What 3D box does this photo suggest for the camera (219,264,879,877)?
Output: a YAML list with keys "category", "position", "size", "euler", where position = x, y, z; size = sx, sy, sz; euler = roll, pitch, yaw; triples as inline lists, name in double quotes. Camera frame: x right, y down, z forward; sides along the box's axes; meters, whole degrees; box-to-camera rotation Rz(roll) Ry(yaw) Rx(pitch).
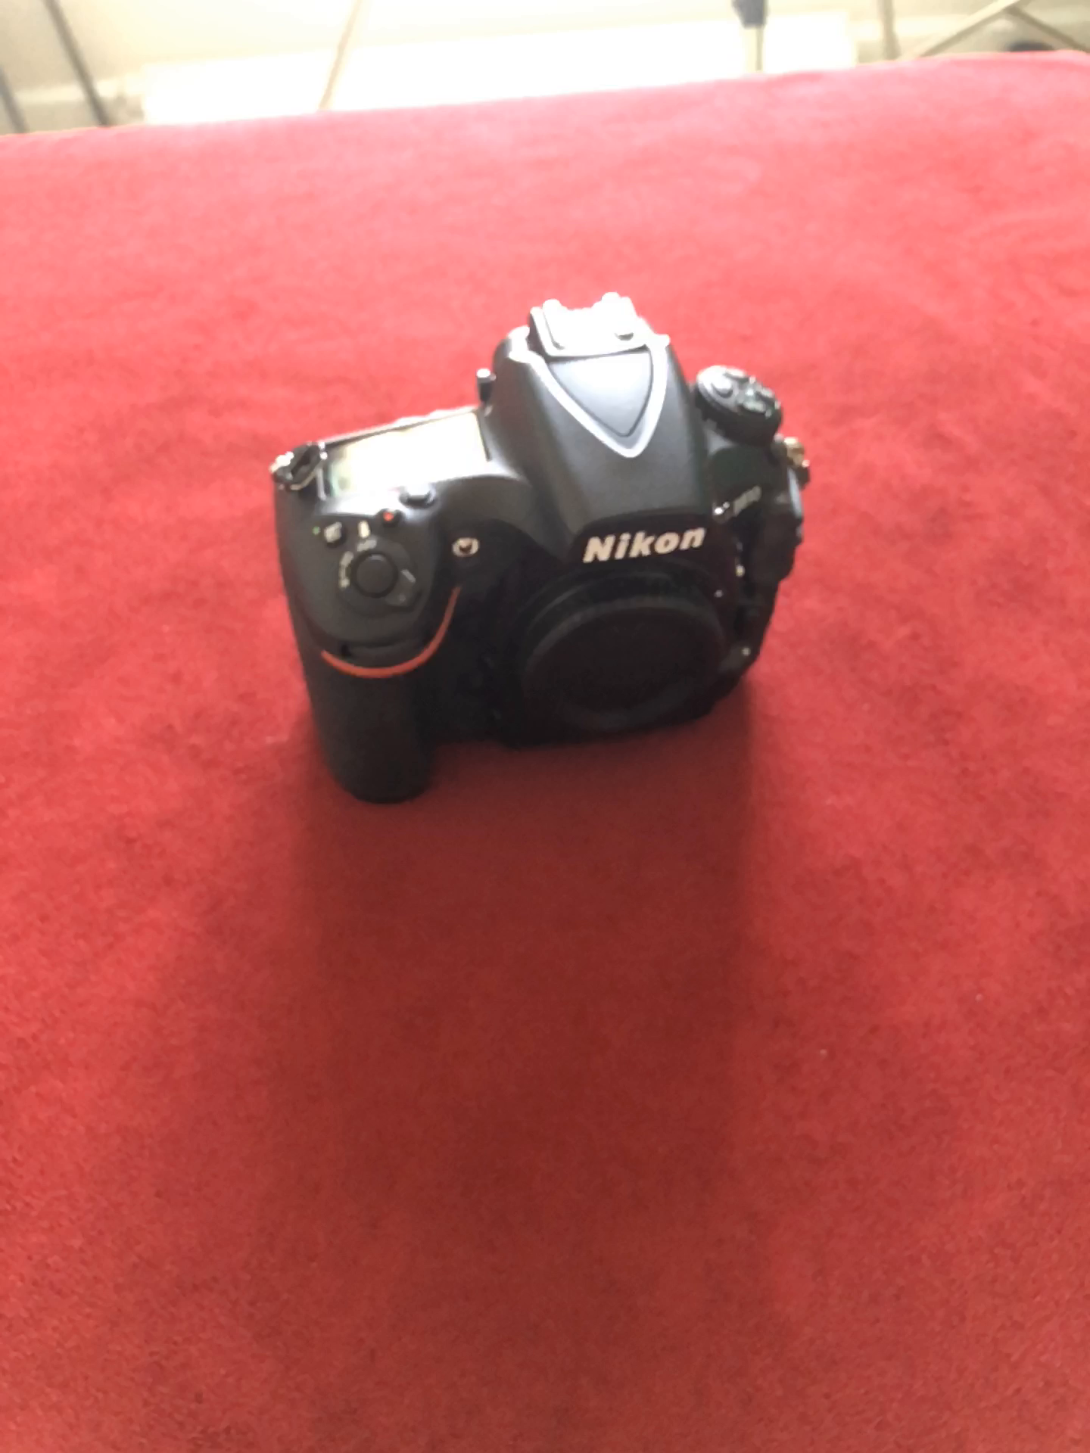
- category: "camera"
  position: [-0.003, -0.040, 0.350]
  size: [0.145, 0.129, 0.083]
  euler: [-11, 53, -8]
